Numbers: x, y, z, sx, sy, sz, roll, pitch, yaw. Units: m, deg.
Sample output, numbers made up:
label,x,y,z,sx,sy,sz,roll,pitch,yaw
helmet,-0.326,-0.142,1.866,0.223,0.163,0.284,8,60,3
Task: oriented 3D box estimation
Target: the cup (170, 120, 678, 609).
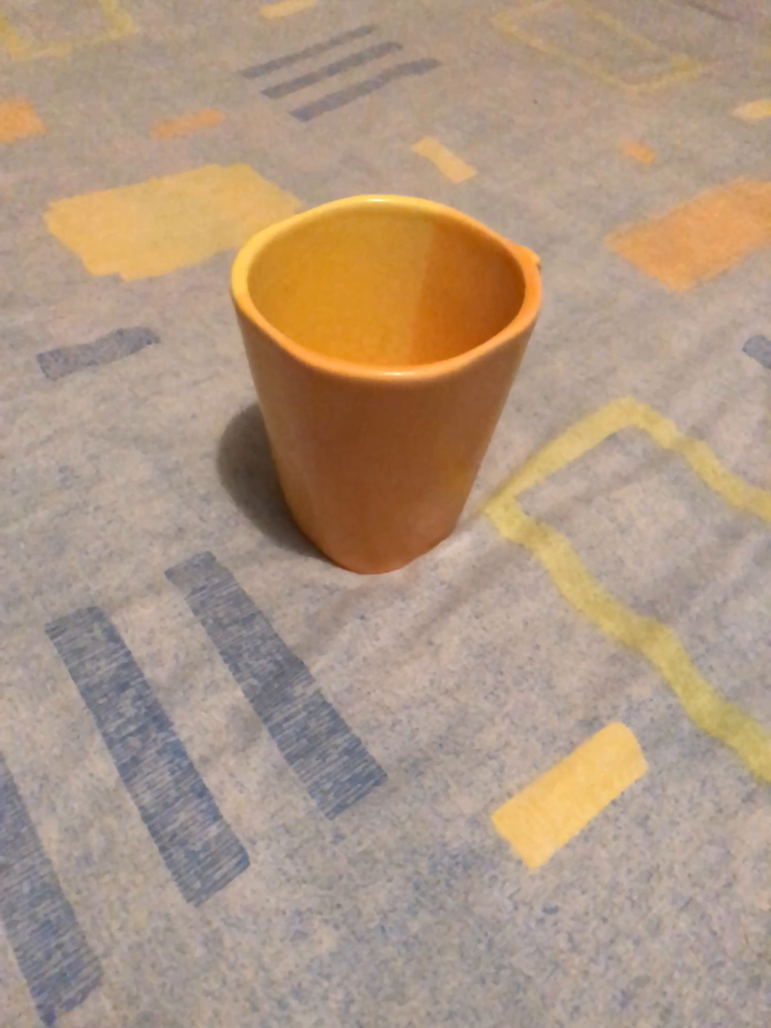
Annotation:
label,x,y,z,sx,sy,sz,roll,pitch,yaw
cup,0.010,-0.050,0.266,0.111,0.082,0.084,-32,58,-27
